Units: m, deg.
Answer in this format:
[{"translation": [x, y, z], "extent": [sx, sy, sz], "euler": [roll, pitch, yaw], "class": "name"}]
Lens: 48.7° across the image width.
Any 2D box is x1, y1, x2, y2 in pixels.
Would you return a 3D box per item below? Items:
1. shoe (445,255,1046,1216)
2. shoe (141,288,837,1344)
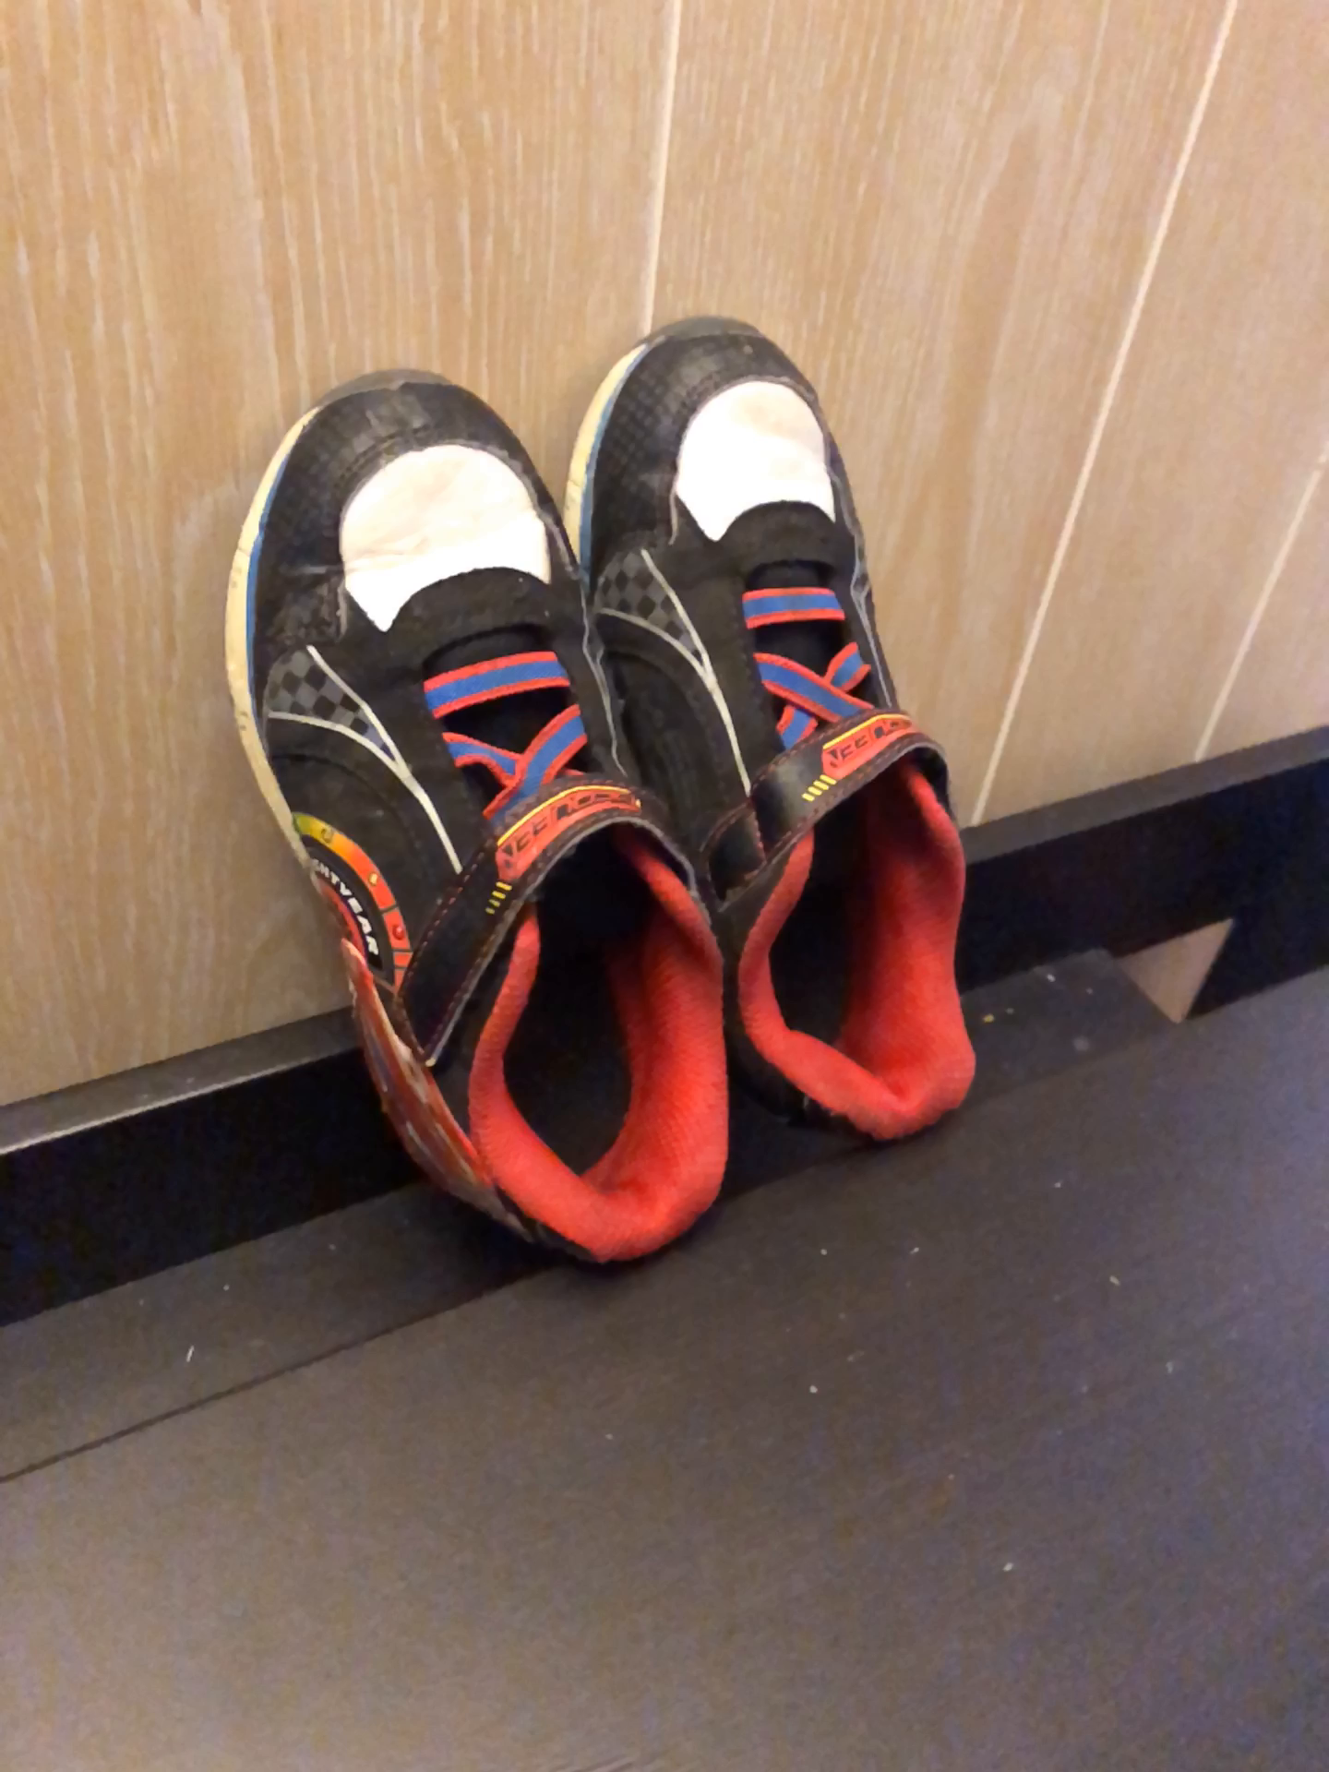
[{"translation": [0.020, -0.038, 0.374], "extent": [0.090, 0.210, 0.070], "euler": [-15, 7, -23], "class": "shoe"}, {"translation": [-0.042, -0.017, 0.331], "extent": [0.090, 0.200, 0.070], "euler": [-16, 3, -24], "class": "shoe"}]
